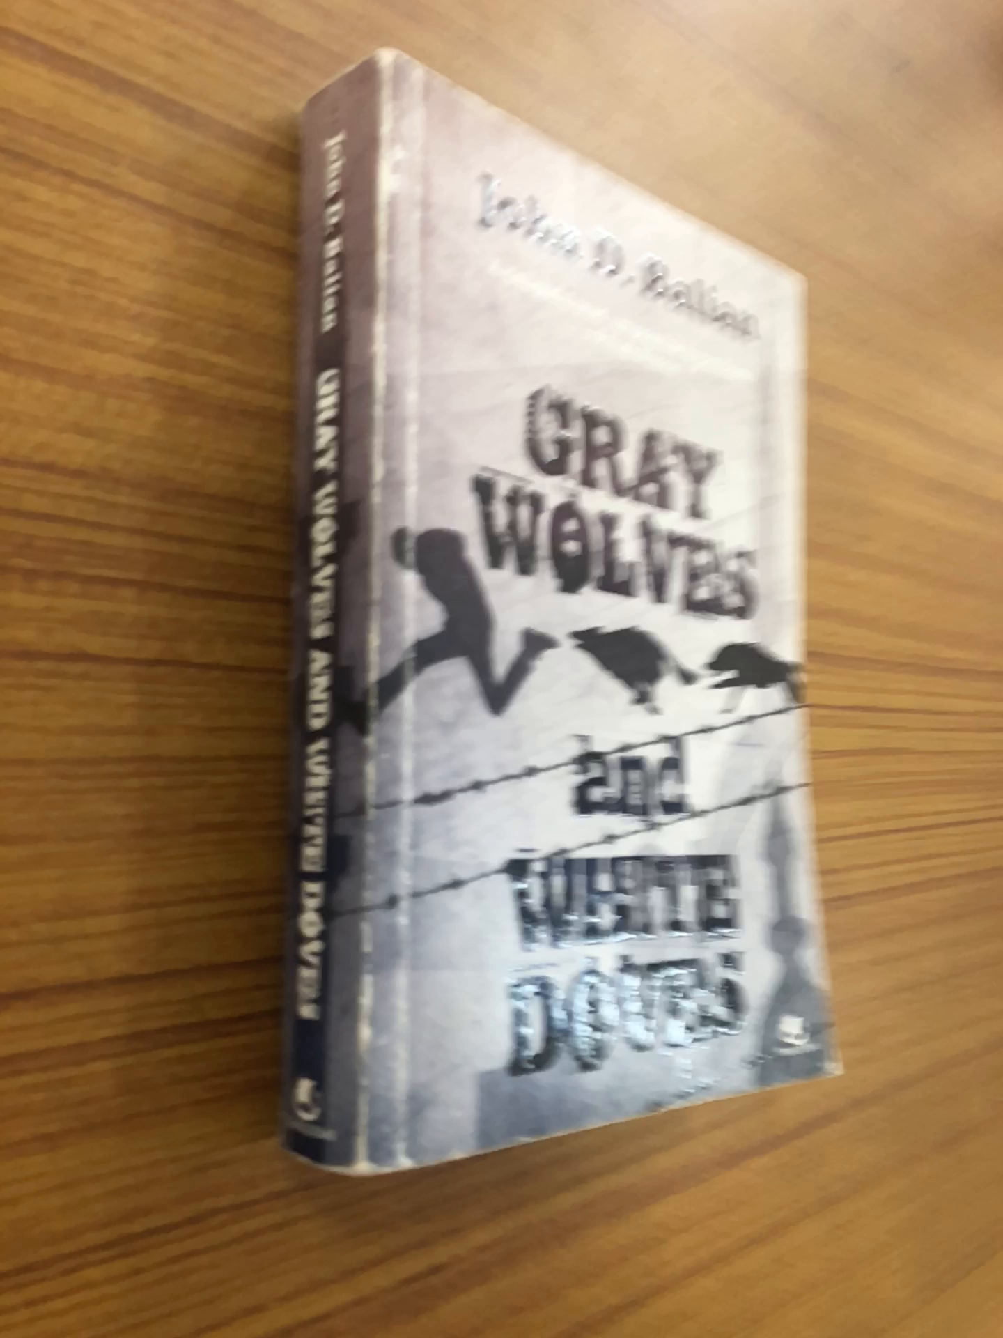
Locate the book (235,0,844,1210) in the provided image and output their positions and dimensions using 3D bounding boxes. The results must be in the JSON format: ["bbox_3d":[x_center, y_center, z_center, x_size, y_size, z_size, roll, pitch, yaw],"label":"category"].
[{"bbox_3d":[0.017,-0.016,0.232,0.131,0.030,0.210,7,79,-39],"label":"book"}]
